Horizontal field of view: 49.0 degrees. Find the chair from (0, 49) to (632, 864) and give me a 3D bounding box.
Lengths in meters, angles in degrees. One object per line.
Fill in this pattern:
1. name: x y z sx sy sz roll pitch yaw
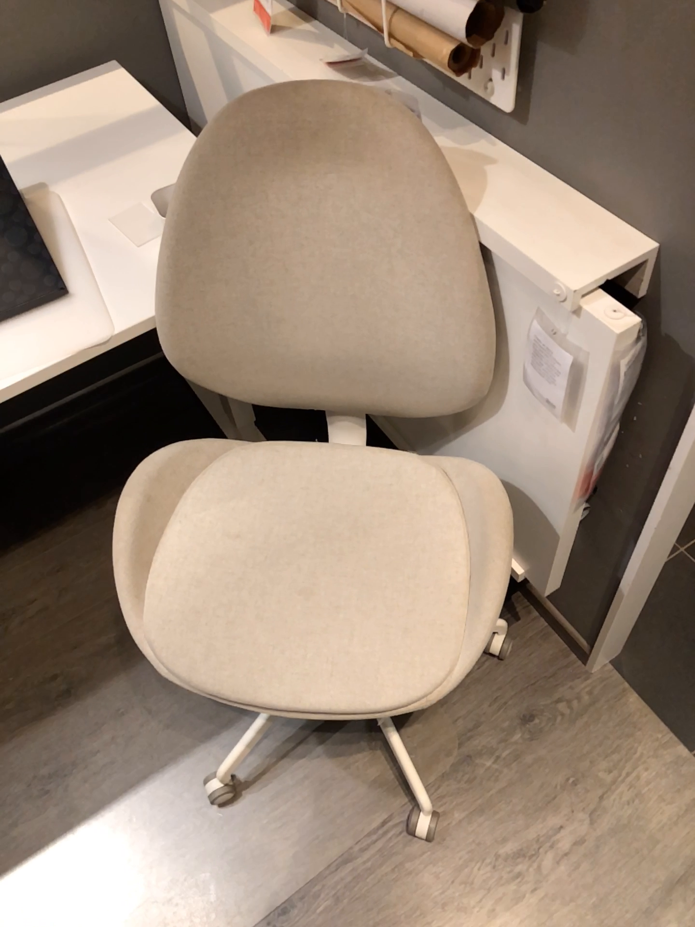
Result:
1. chair: -0.058 0.060 1.109 0.680 0.965 0.683 5 54 10
